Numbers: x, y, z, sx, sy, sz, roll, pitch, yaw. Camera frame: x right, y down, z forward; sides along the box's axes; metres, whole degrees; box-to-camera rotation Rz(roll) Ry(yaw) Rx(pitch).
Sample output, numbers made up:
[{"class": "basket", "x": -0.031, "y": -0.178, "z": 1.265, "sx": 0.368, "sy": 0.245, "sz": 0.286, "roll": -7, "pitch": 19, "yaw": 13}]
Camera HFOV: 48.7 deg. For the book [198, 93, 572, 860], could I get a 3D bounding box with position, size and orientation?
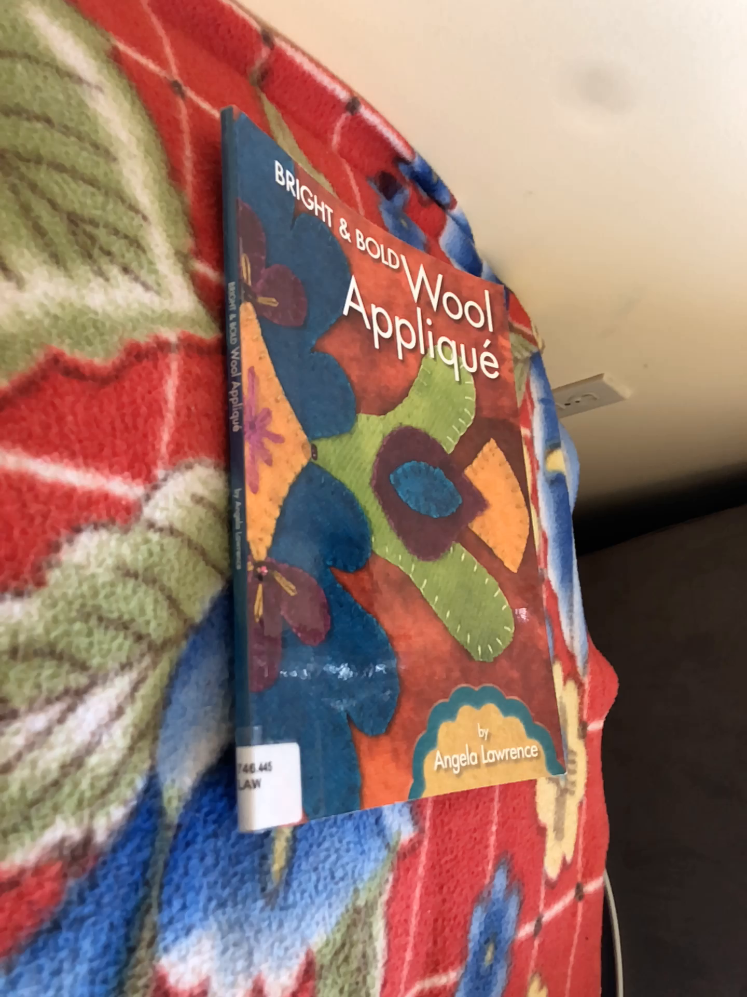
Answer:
[{"class": "book", "x": 0.016, "y": -0.002, "z": 0.365, "sx": 0.221, "sy": 0.020, "sz": 0.264, "roll": 15, "pitch": 65, "yaw": -52}]
